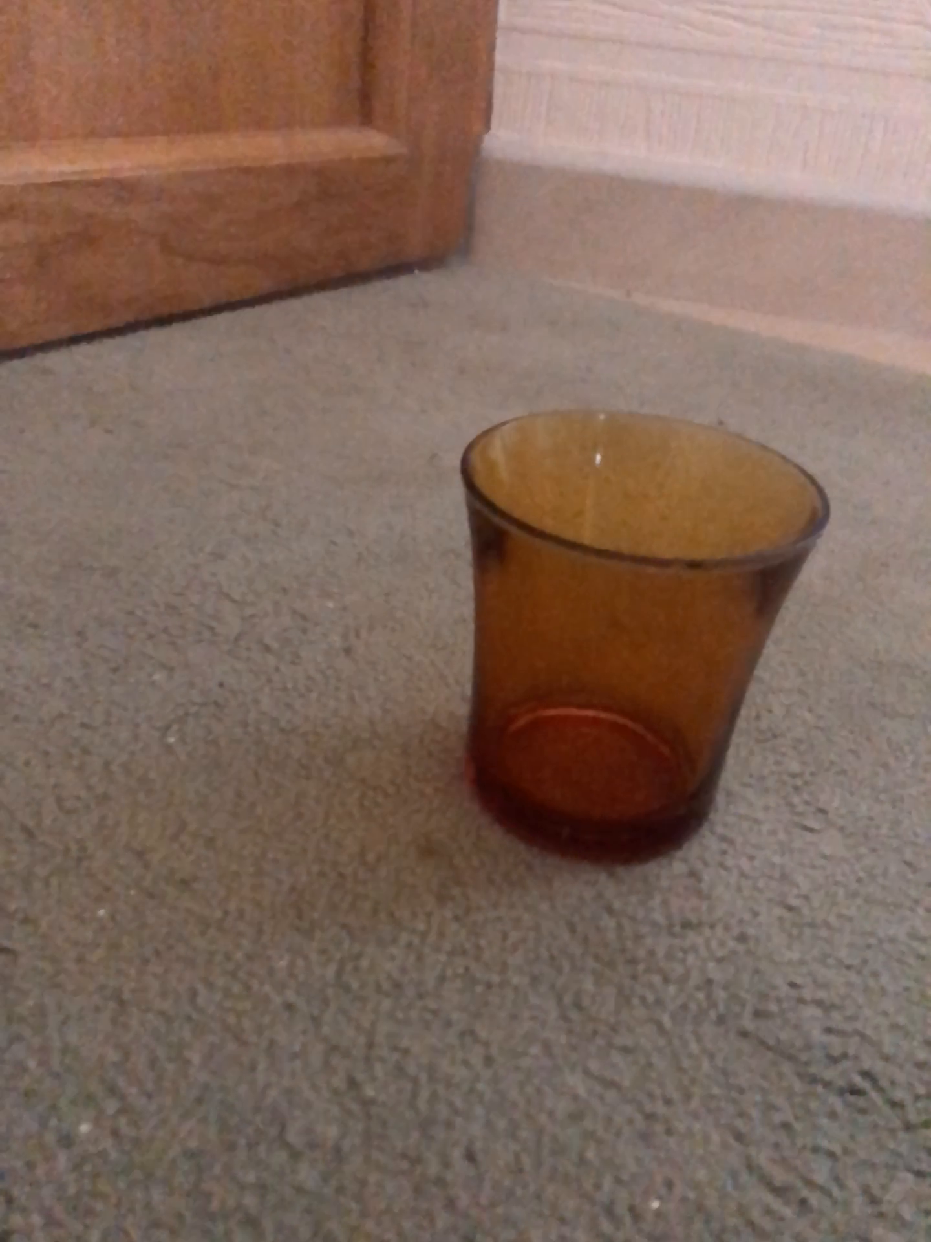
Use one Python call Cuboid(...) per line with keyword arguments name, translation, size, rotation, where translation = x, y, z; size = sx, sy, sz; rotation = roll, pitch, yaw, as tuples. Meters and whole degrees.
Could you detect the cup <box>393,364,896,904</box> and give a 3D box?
Cuboid(name="cup", translation=(0.036, -0.004, 0.211), size=(0.070, 0.070, 0.070), rotation=(4, 30, -2))
